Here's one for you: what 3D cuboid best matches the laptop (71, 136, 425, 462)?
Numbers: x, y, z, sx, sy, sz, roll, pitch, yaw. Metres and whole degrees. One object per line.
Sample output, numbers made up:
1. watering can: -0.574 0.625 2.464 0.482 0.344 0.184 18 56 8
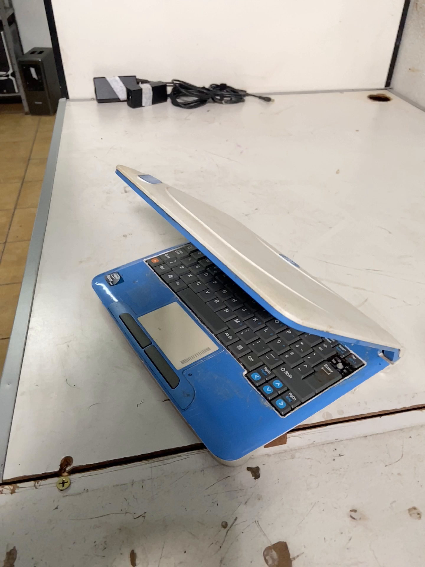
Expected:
1. laptop: 0.014 -0.019 0.387 0.182 0.116 0.247 -21 43 -26
